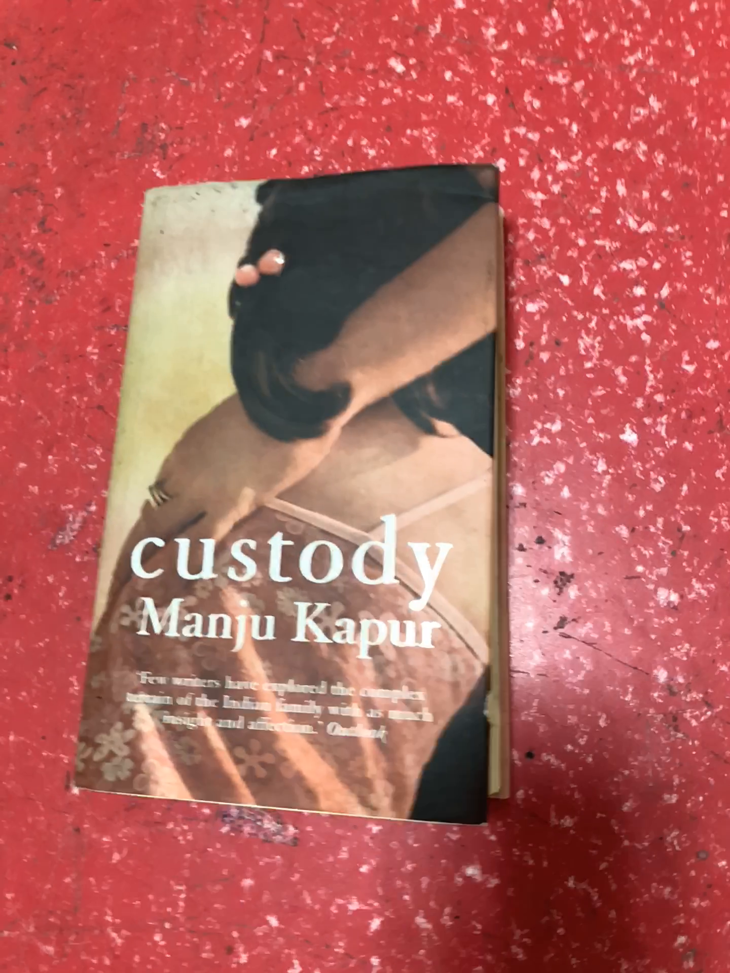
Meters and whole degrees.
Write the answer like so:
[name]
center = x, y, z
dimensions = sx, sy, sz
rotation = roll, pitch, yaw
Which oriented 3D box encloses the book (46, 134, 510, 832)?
[book]
center = -0.022, -0.007, 0.283
dimensions = 0.140, 0.040, 0.220
rotation = -1, 76, 12
